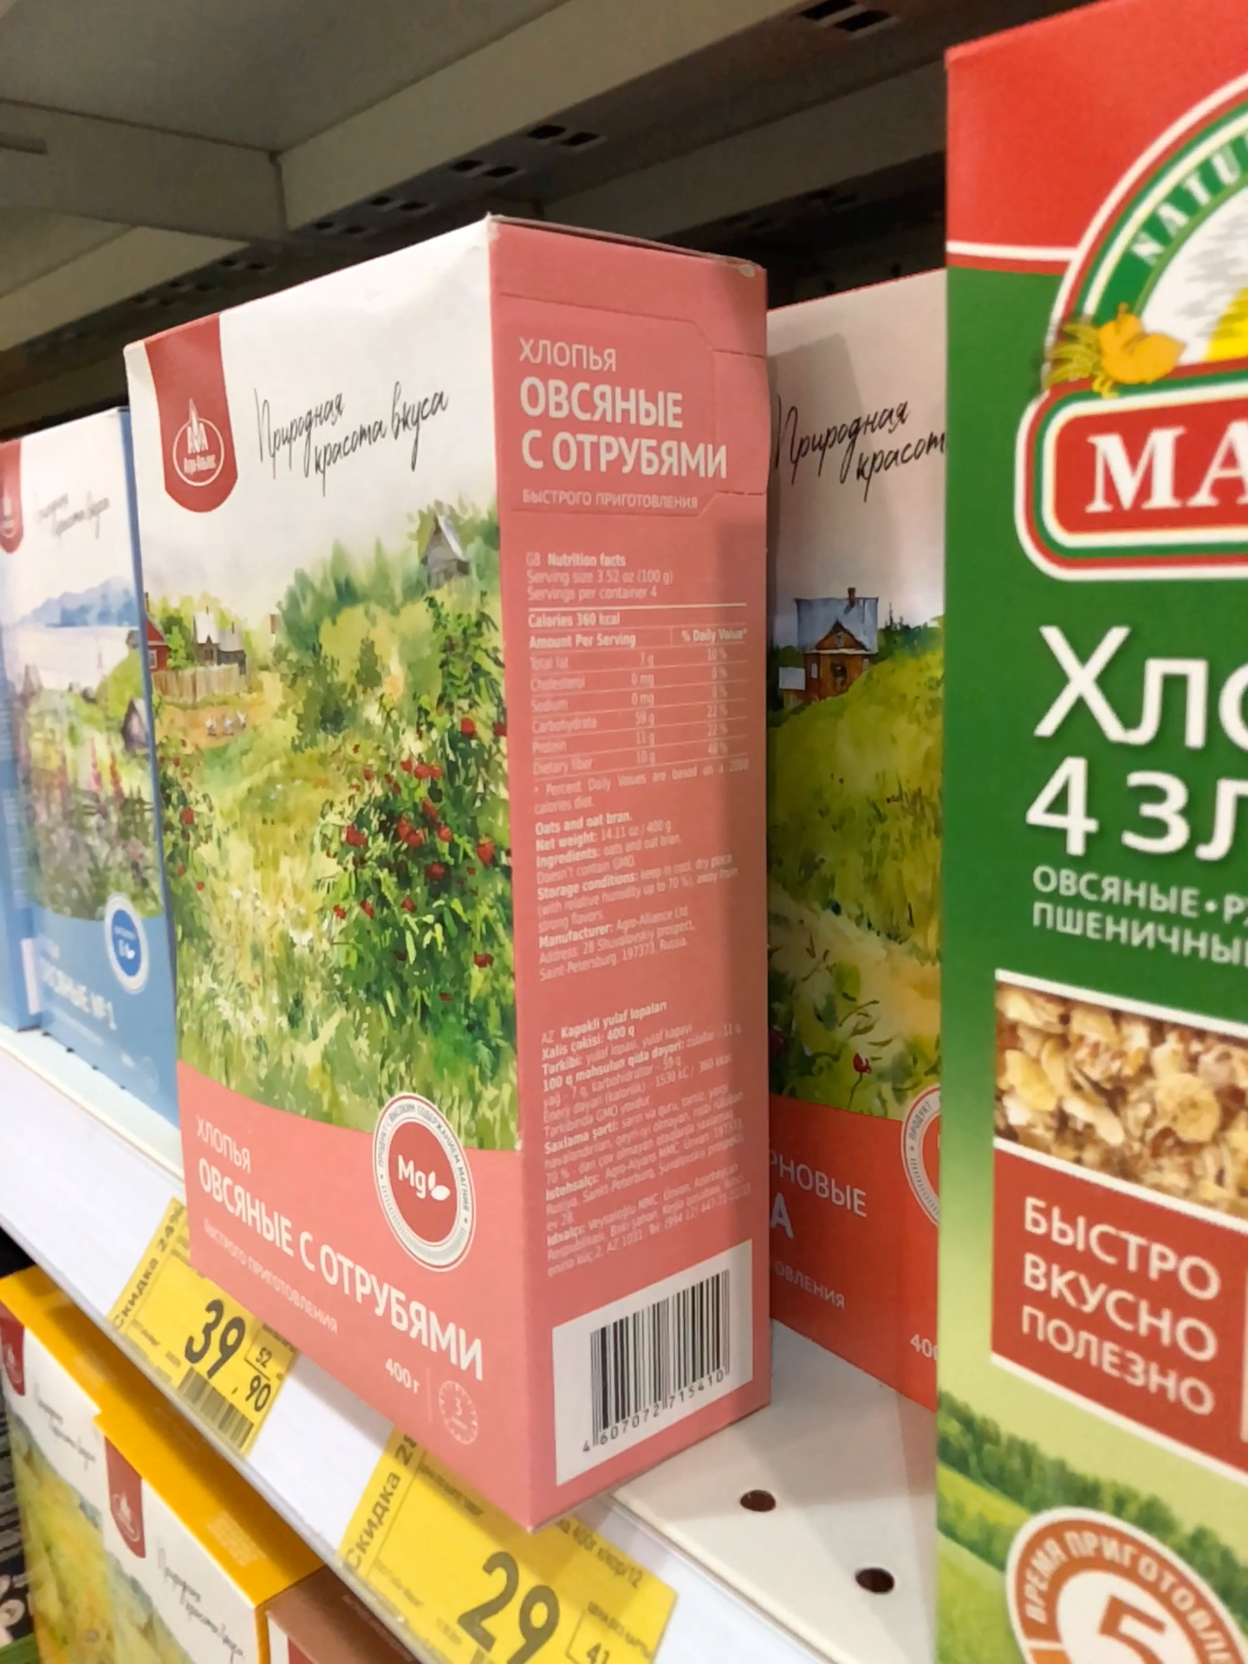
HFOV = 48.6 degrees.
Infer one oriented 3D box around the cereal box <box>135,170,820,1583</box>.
[{"bbox_3d":[-0.033,0.003,0.269,0.060,0.209,0.130,-8,12,-41],"label":"cereal box"}]
